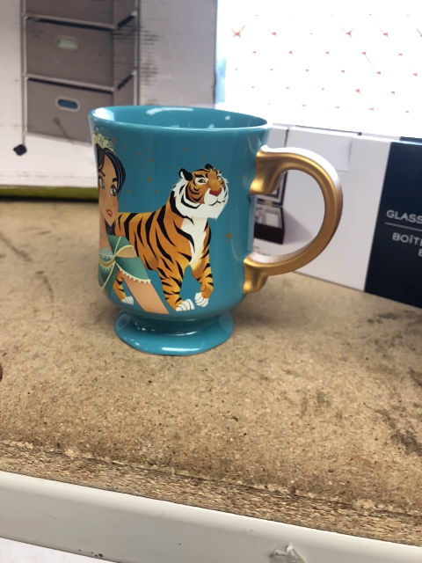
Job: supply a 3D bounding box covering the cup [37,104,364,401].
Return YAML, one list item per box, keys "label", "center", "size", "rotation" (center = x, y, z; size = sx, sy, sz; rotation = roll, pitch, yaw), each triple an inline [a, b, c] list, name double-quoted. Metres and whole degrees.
- label: "cup"
  center: [-0.002, -0.029, 0.269]
  size: [0.140, 0.120, 0.099]
  rotation: [12, 26, 20]
